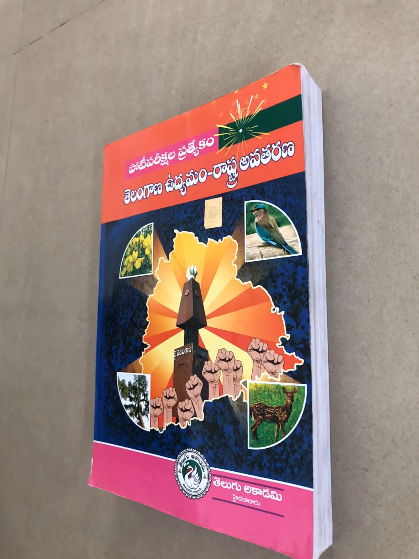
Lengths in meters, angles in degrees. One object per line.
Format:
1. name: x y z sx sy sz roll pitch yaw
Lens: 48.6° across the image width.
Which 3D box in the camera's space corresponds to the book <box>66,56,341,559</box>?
1. book: -0.017 0.017 0.321 0.202 0.040 0.265 -6 79 40
